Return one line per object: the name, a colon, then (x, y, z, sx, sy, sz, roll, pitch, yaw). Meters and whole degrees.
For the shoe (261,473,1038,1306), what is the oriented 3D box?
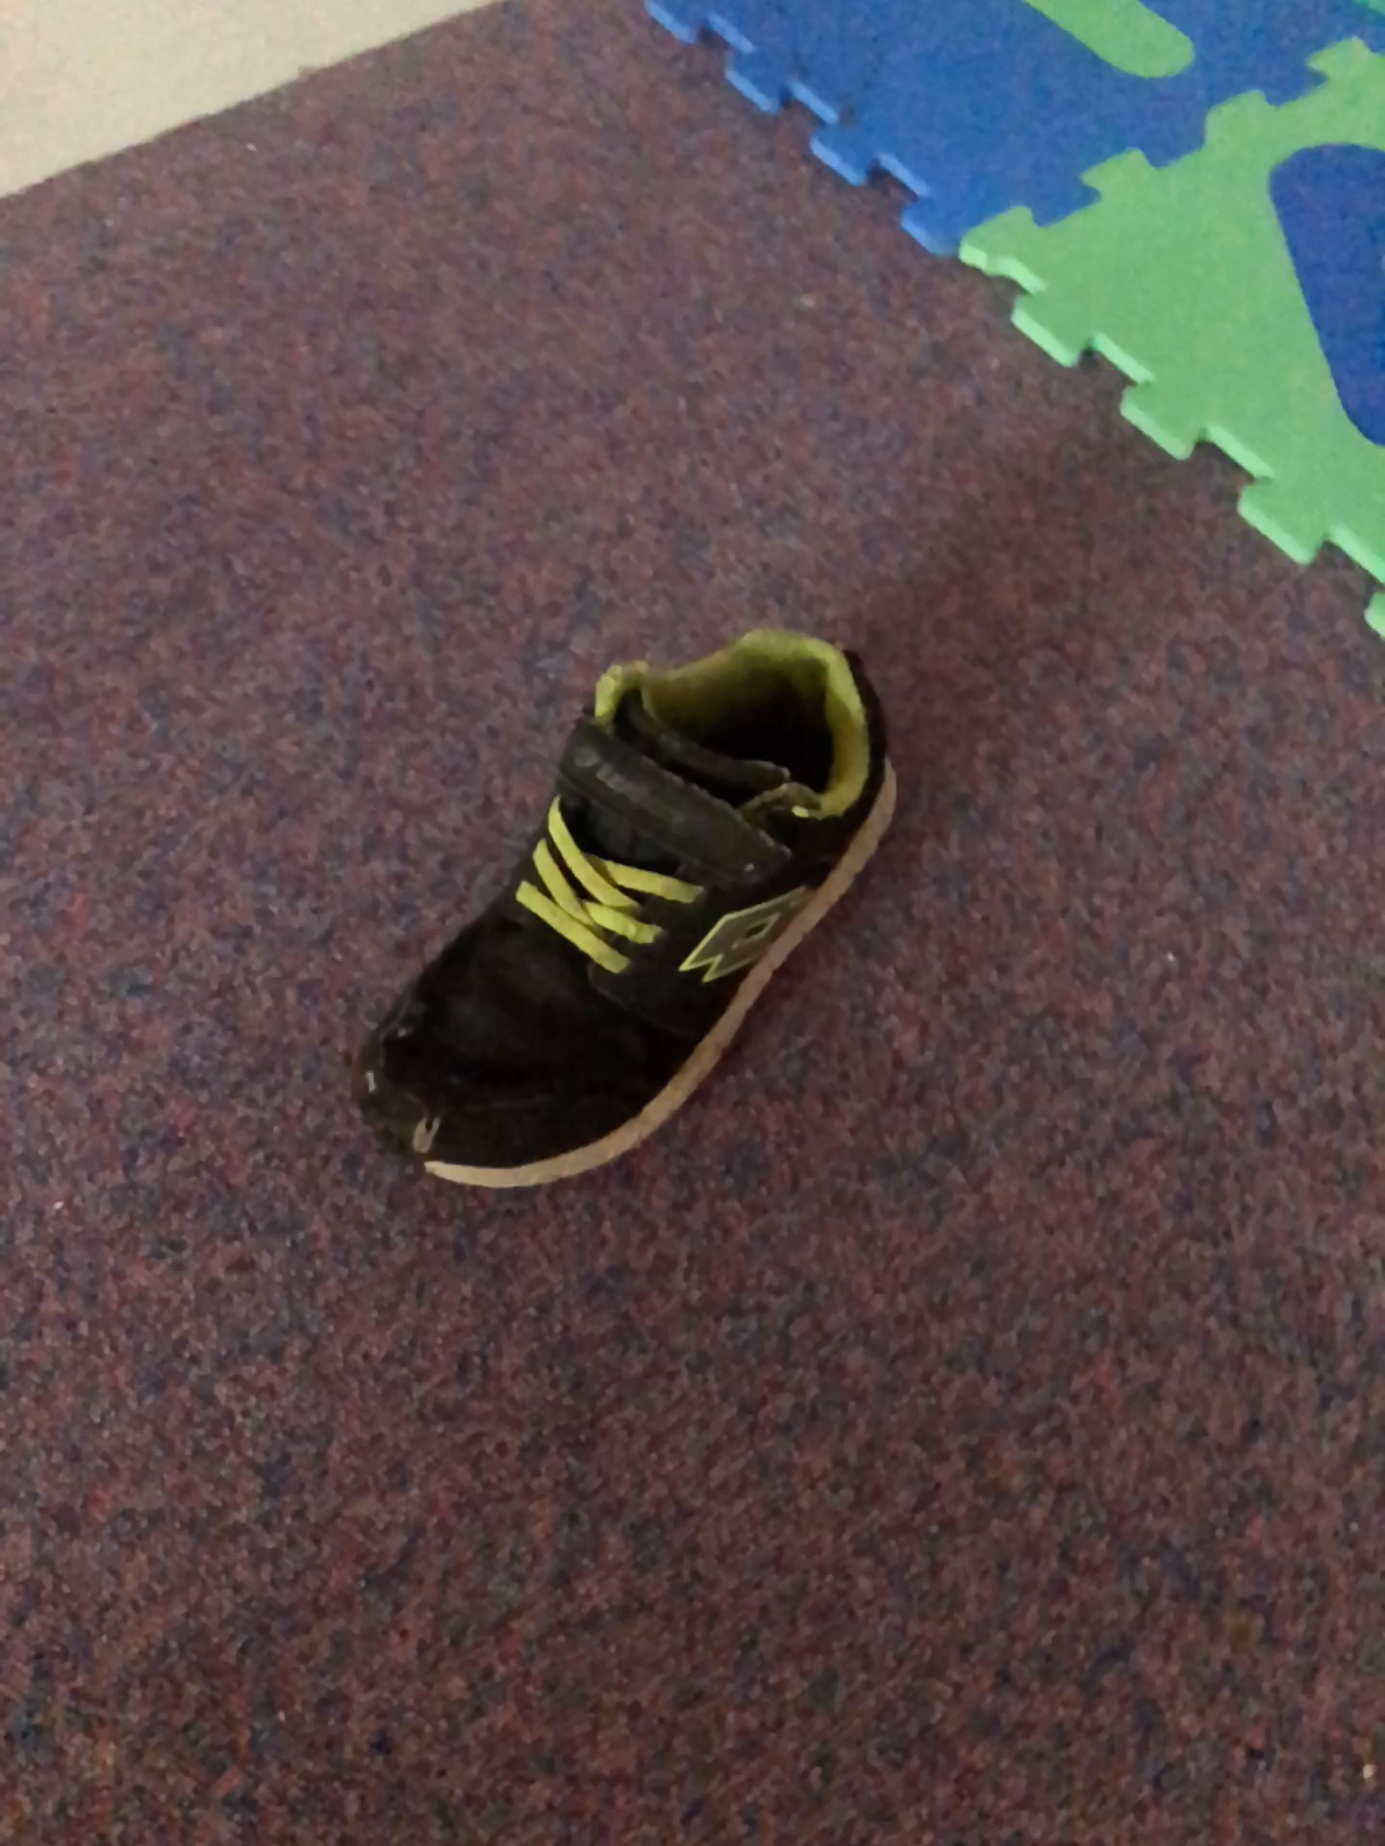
shoe: (-0.004, -0.013, 0.453, 0.090, 0.100, 0.221, 34, 66, 18)
